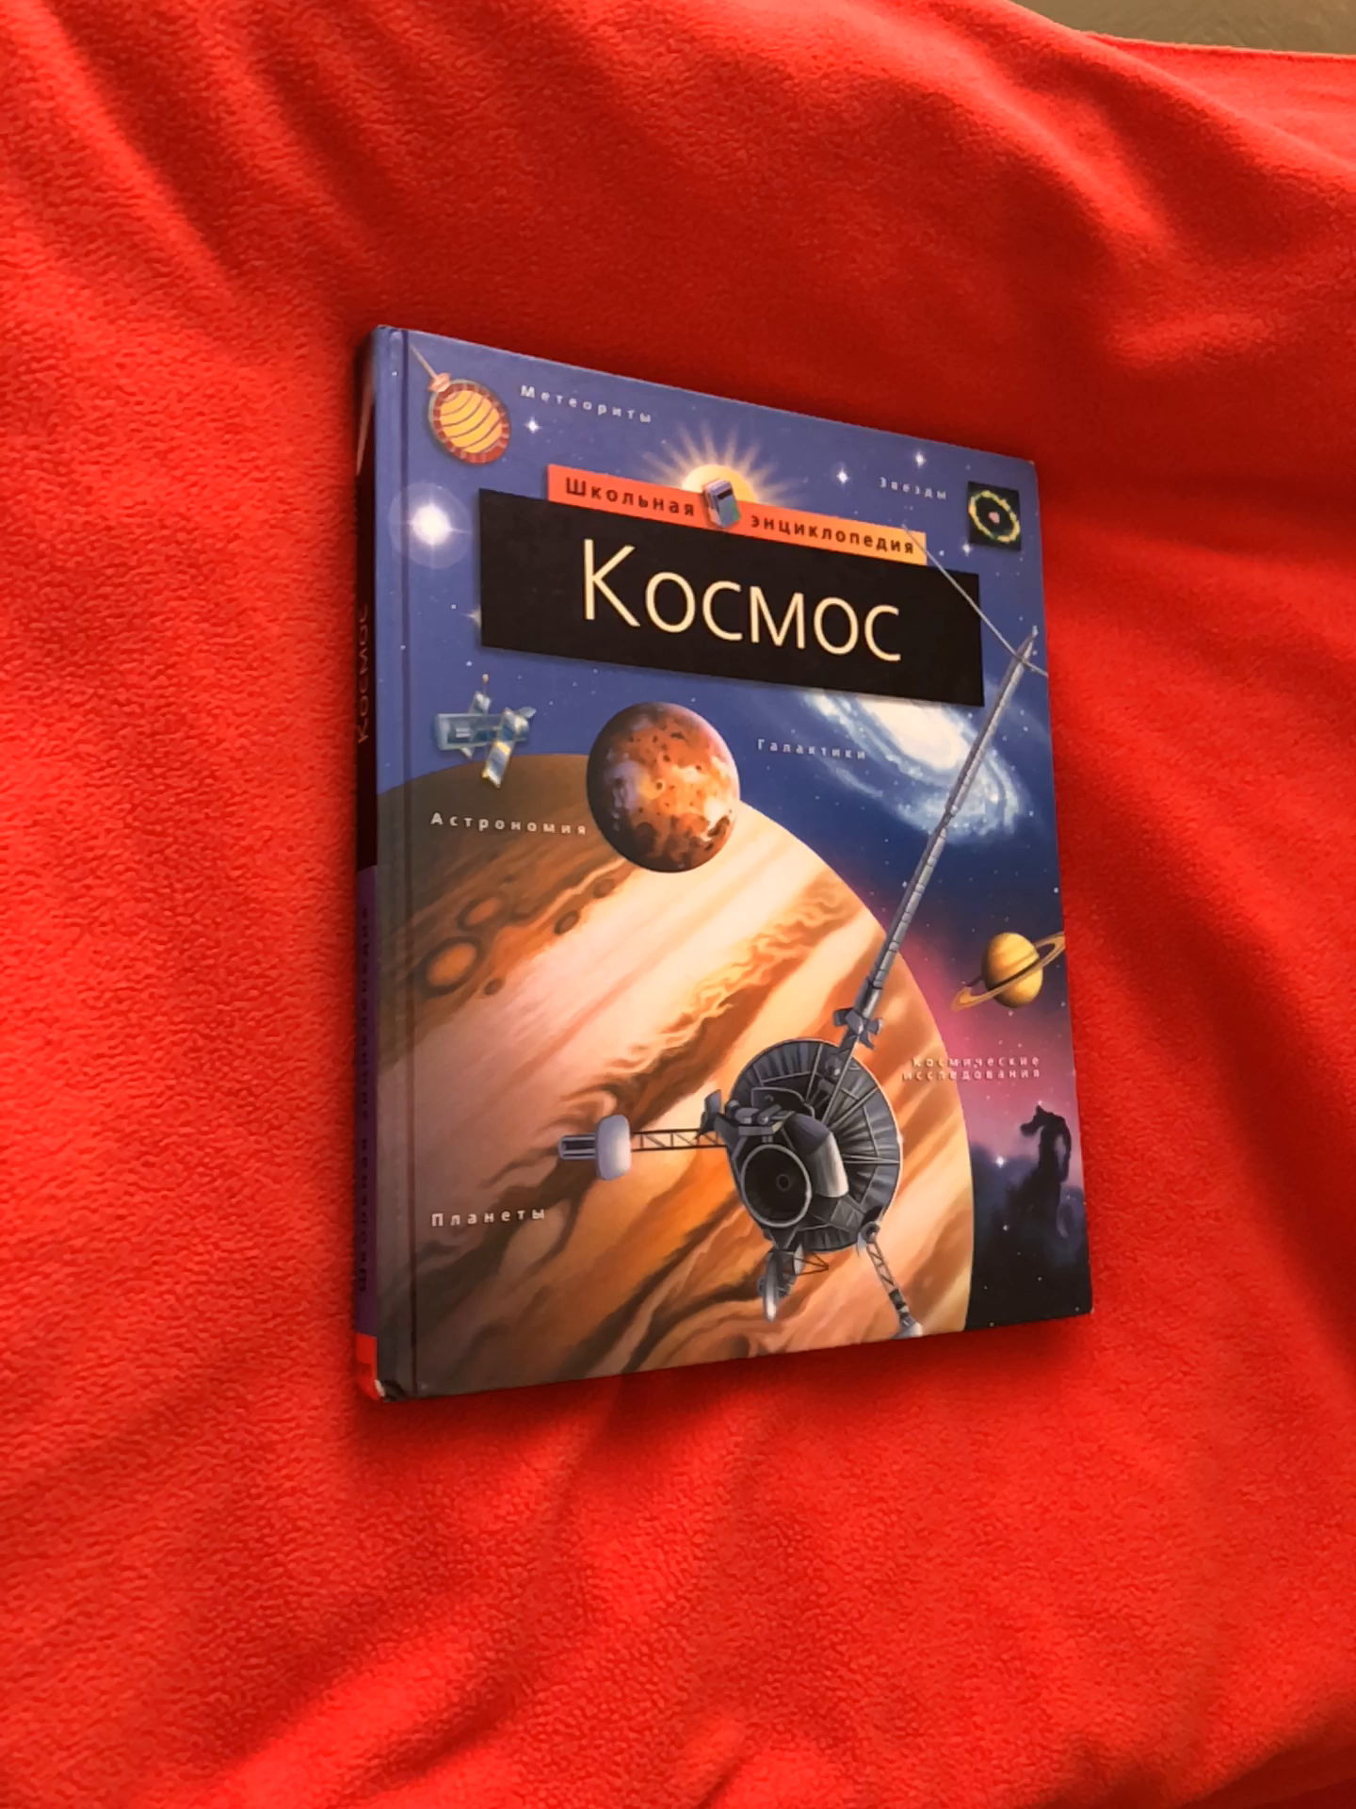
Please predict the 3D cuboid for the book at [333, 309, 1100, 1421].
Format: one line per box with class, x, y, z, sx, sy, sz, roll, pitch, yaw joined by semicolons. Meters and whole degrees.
book;0.018;-0.011;0.445;0.235;0.030;0.284;2;82;-28
